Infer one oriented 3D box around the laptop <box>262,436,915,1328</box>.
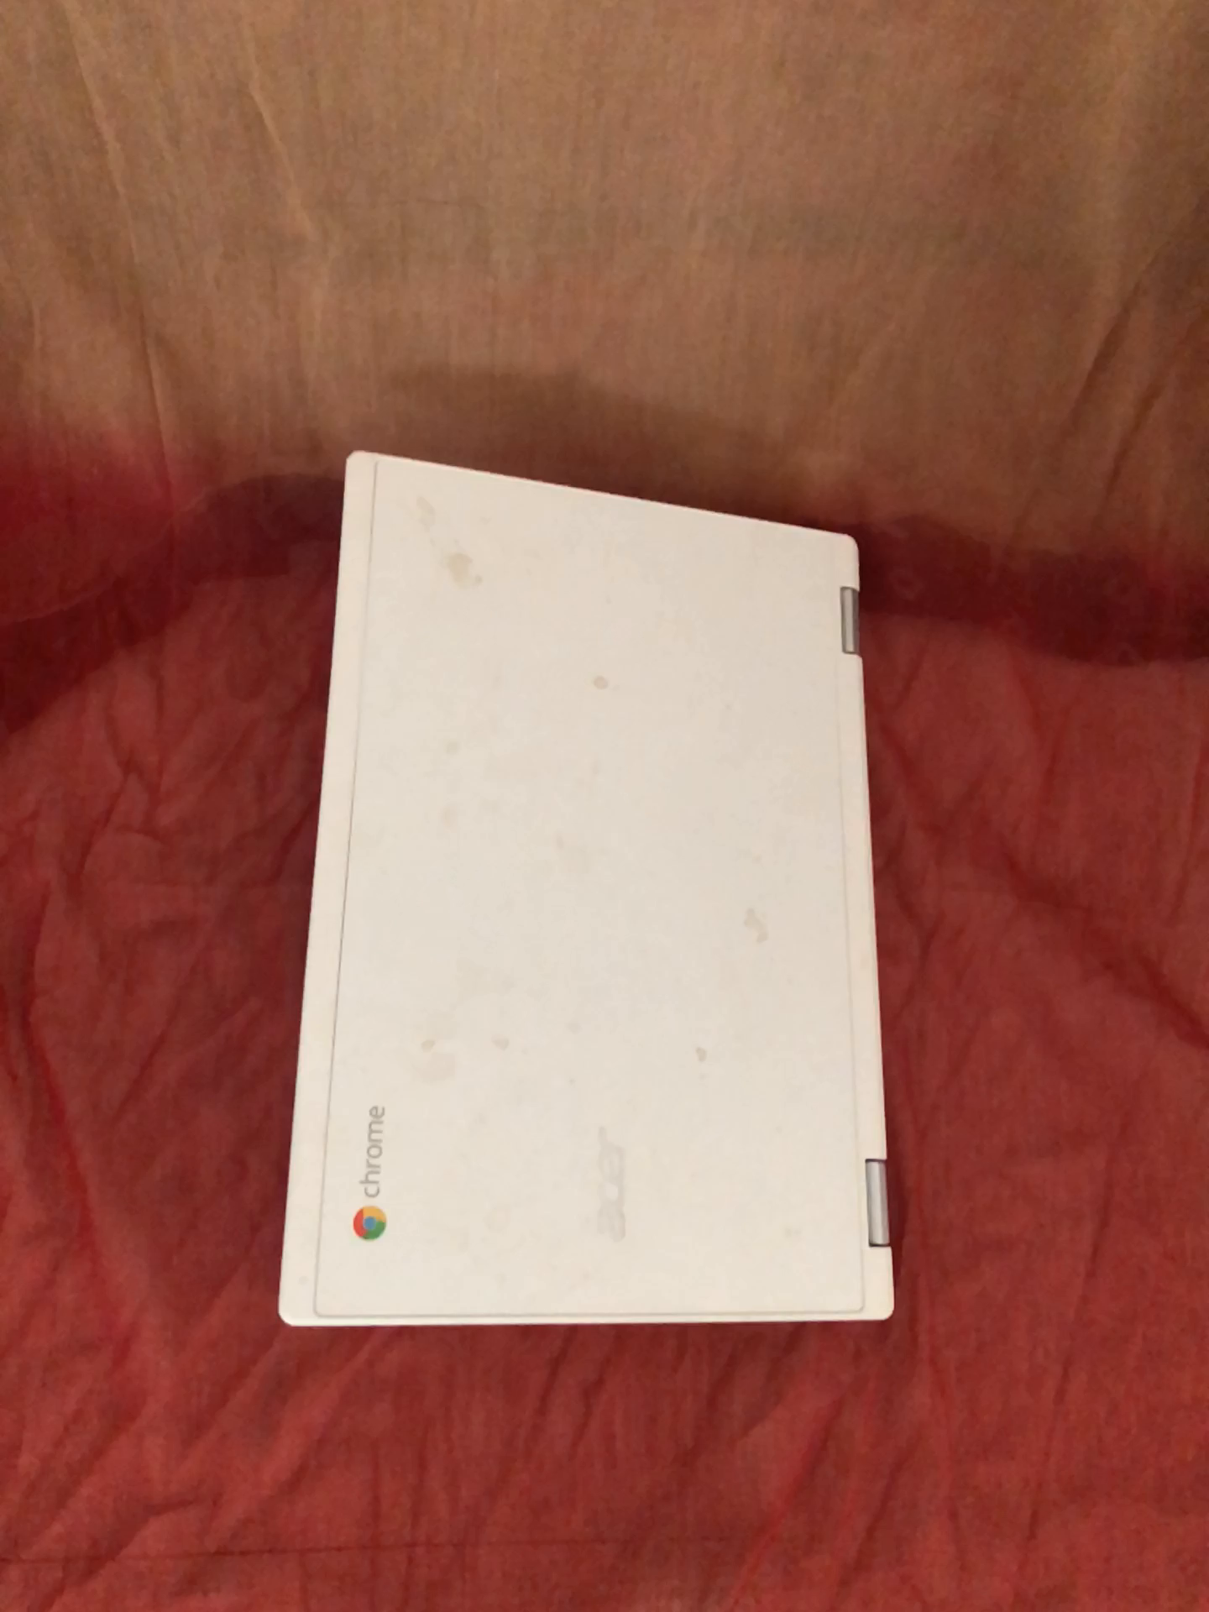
[{"bbox_3d":[-0.001,0.019,0.460,0.189,0.056,0.288,3,71,-3],"label":"laptop"}]
